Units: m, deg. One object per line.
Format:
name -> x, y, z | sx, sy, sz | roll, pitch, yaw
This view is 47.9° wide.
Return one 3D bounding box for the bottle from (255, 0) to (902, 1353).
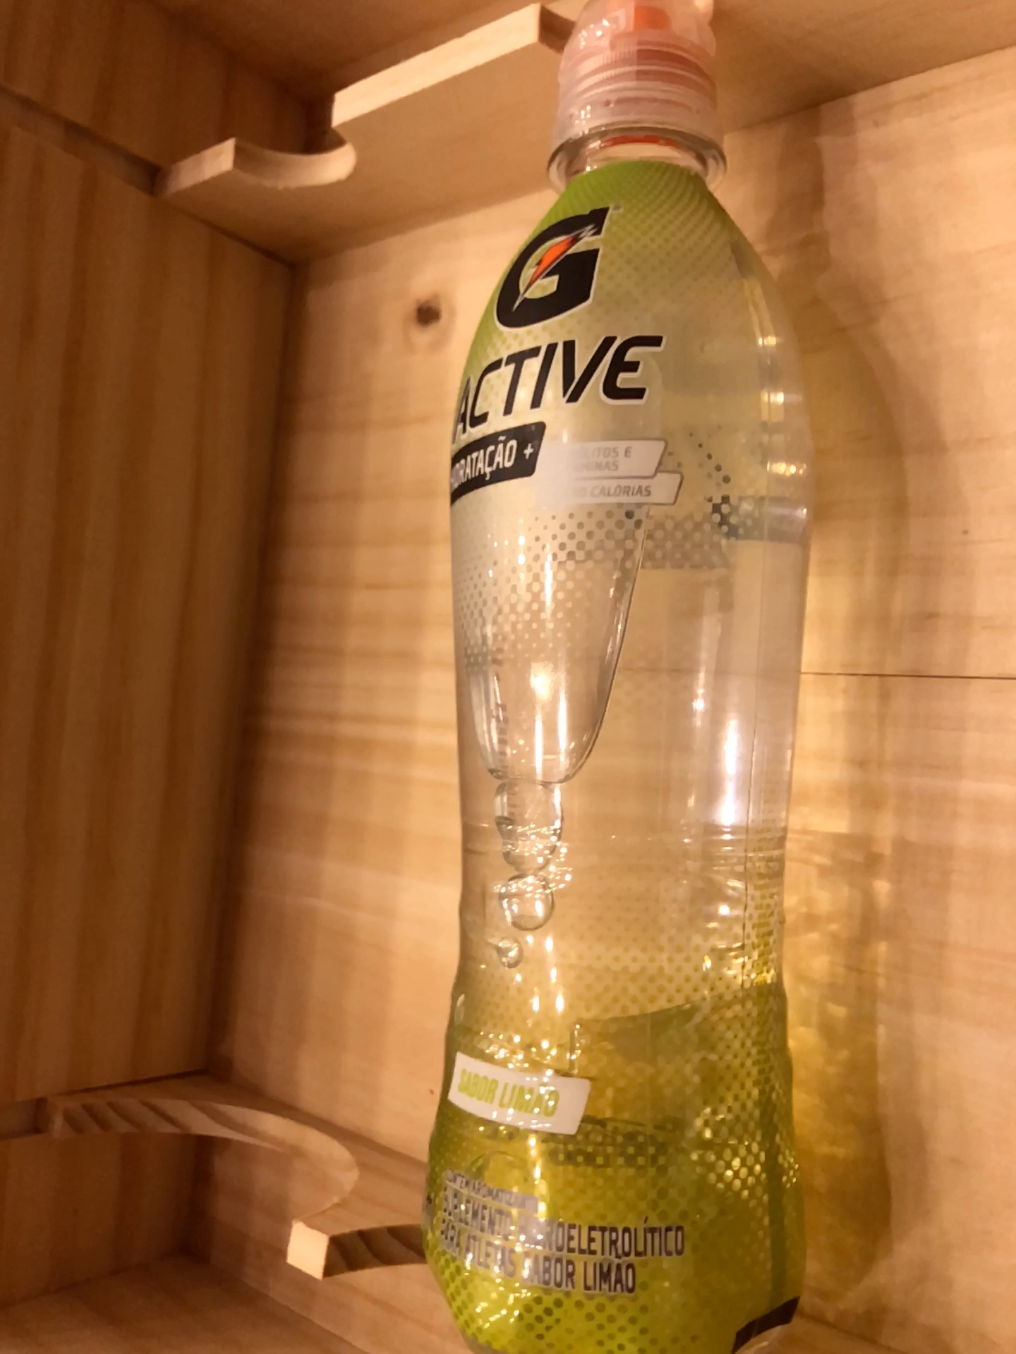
bottle -> 0.019, -0.019, 0.203 | 0.070, 0.070, 0.270 | -2, 81, 38
